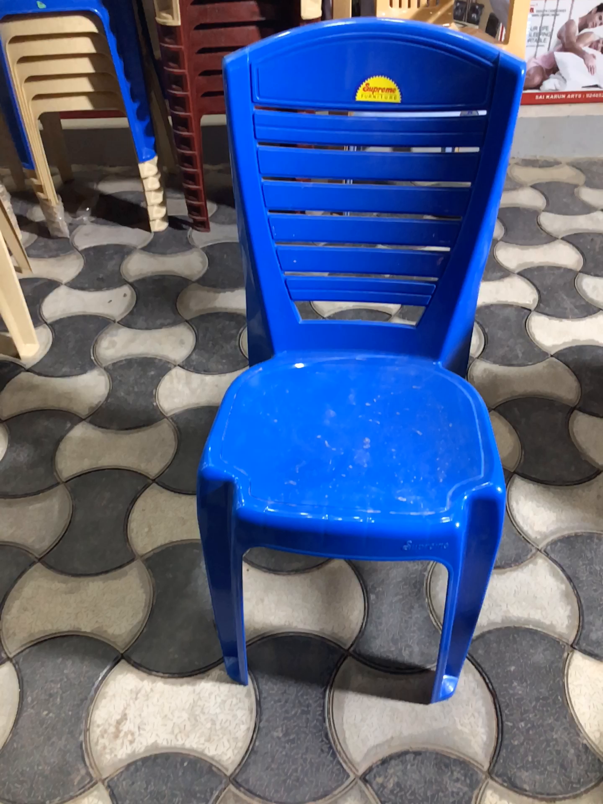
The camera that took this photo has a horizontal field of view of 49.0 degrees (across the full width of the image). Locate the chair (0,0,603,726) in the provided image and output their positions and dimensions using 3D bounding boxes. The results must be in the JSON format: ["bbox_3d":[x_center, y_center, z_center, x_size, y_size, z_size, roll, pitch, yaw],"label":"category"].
[{"bbox_3d":[0.054,-0.045,0.828,0.470,0.725,0.514,4,41,6],"label":"chair"}]
